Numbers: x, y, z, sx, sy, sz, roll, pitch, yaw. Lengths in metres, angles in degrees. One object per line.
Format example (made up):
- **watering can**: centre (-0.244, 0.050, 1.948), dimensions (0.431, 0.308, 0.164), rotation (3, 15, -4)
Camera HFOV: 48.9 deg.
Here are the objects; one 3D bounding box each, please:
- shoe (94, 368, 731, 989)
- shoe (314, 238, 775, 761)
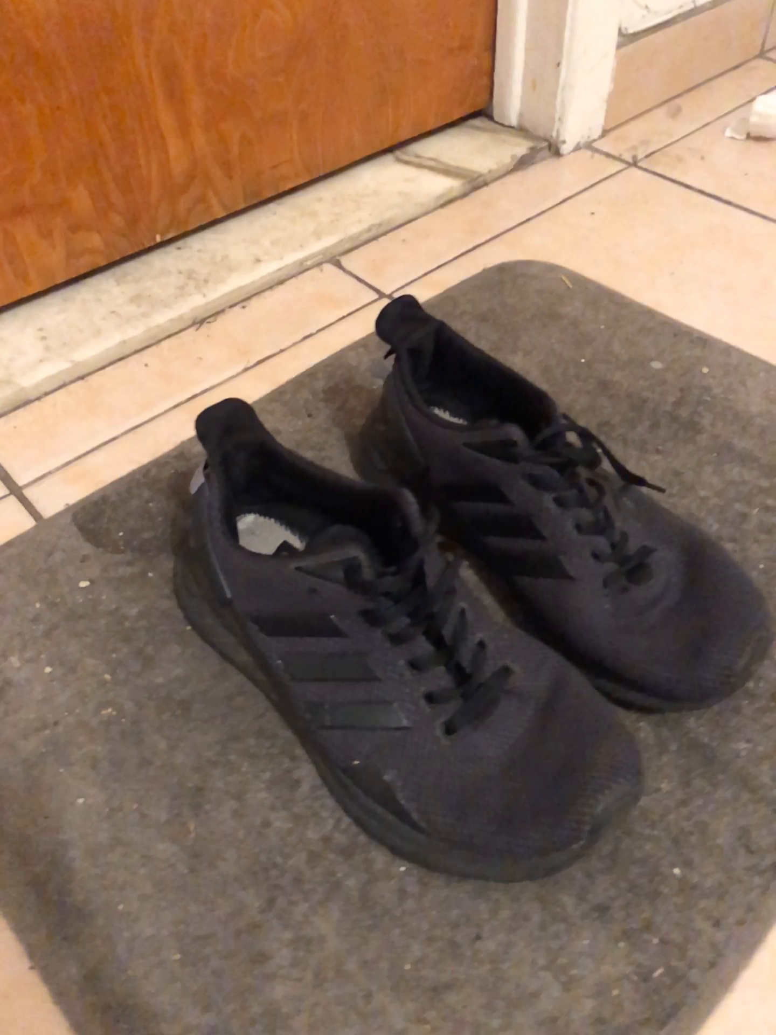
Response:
- **shoe**: centre (-0.004, 0.057, 0.398), dimensions (0.261, 0.119, 0.110), rotation (35, 53, 29)
- **shoe**: centre (0.087, -0.024, 0.454), dimensions (0.110, 0.119, 0.261), rotation (-32, 54, -24)
